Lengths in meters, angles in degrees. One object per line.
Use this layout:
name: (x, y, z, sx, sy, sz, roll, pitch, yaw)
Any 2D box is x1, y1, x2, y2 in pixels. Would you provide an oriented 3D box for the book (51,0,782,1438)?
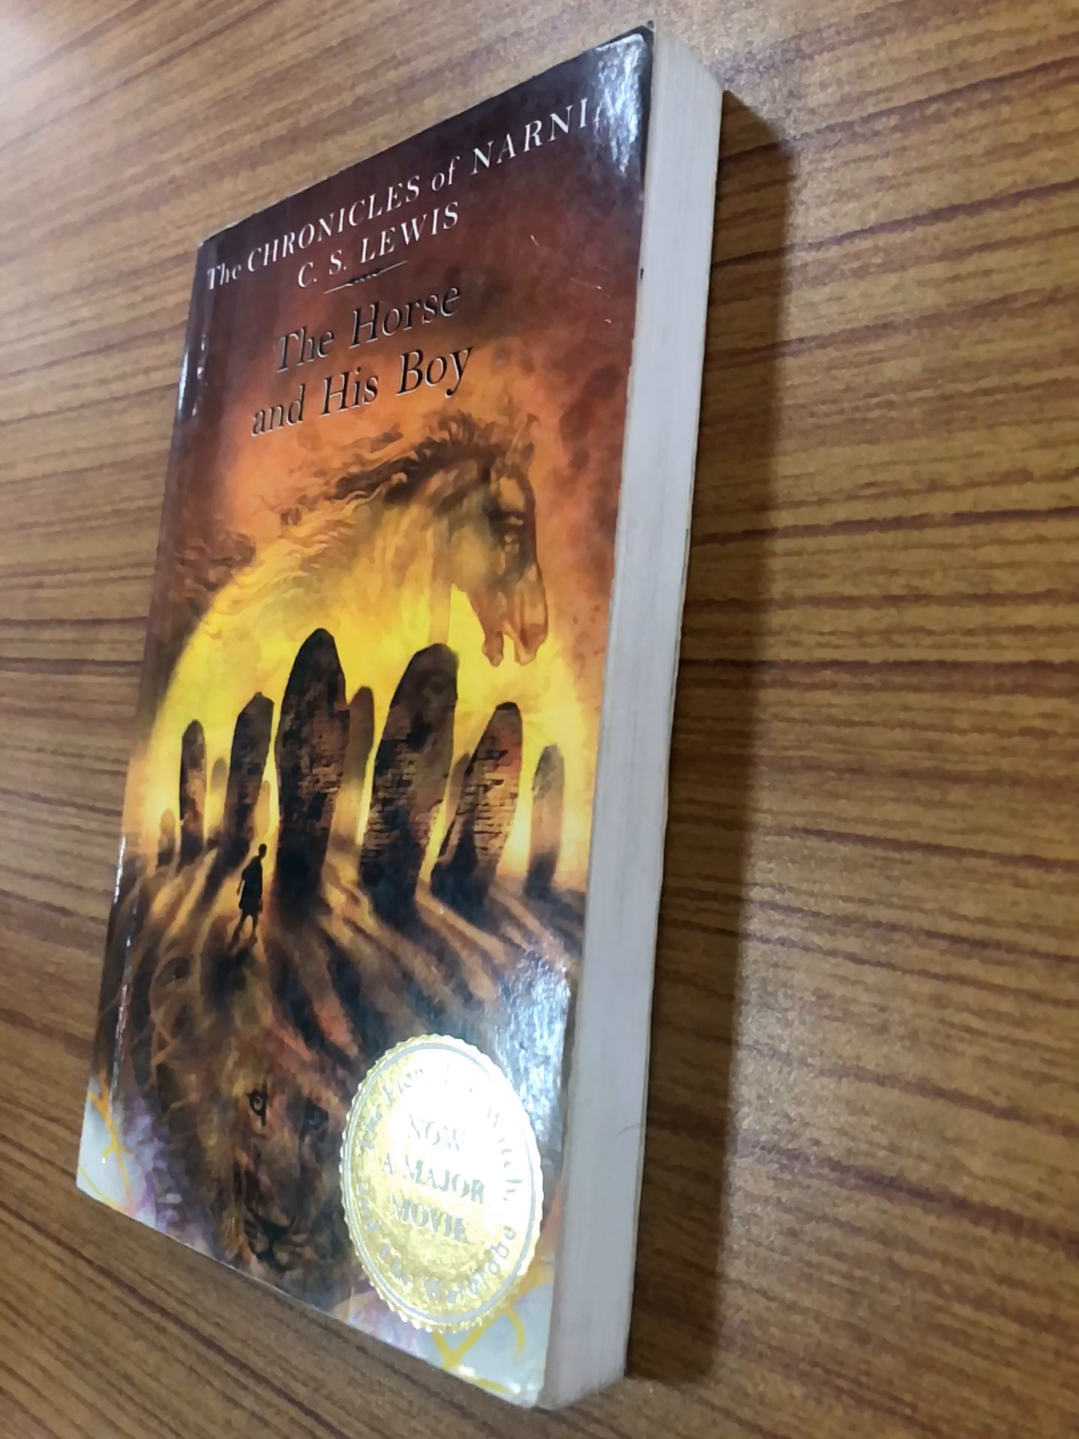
book: (-0.026, -0.007, 0.191, 0.121, 0.020, 0.180, -1, 82, 41)
